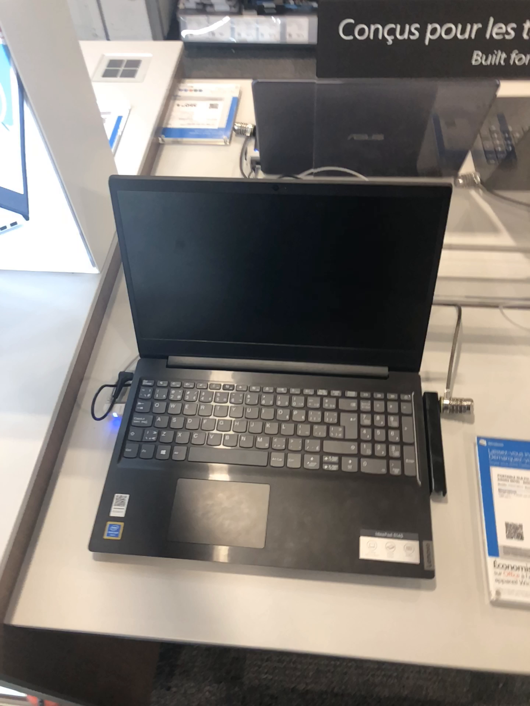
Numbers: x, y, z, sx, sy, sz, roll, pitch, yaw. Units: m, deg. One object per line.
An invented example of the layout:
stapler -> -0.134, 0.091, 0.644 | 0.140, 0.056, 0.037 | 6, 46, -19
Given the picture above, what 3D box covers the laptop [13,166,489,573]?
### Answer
laptop -> 0.001, 0.011, 0.591 | 0.345, 0.213, 0.323 | 3, 57, 5
